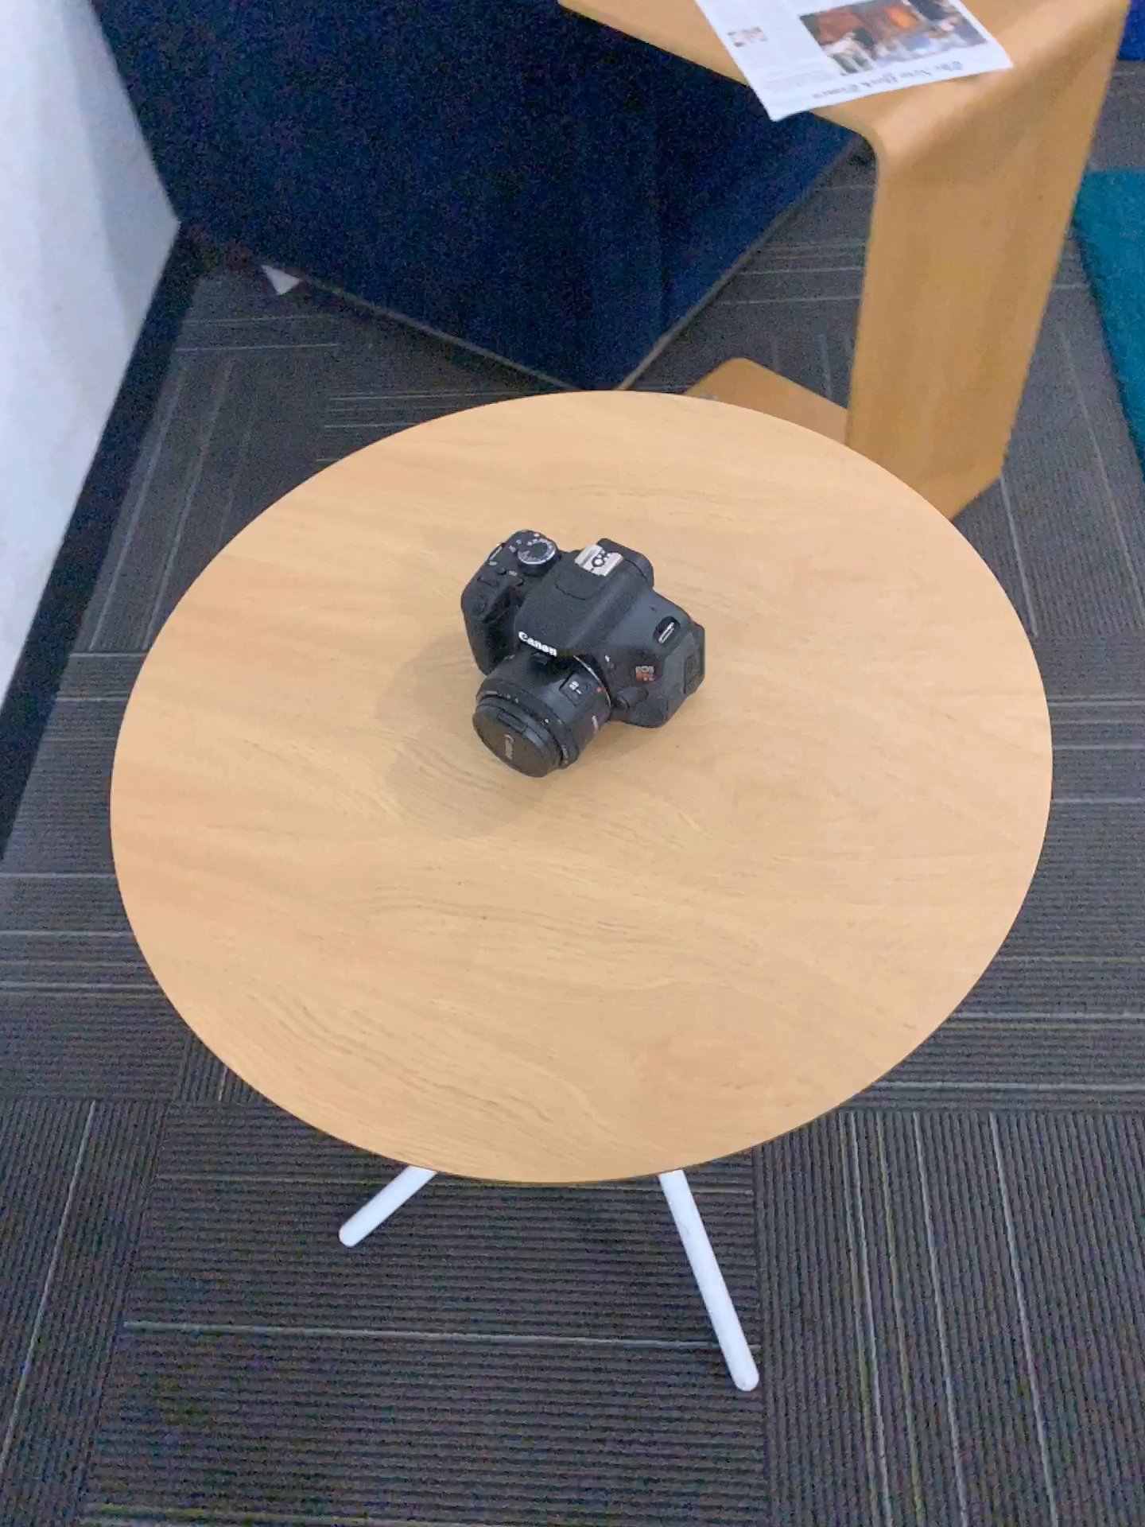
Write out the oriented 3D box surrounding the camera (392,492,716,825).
[{"bbox_3d":[-0.006,-0.060,0.642,0.120,0.080,0.125,27,63,21],"label":"camera"}]
